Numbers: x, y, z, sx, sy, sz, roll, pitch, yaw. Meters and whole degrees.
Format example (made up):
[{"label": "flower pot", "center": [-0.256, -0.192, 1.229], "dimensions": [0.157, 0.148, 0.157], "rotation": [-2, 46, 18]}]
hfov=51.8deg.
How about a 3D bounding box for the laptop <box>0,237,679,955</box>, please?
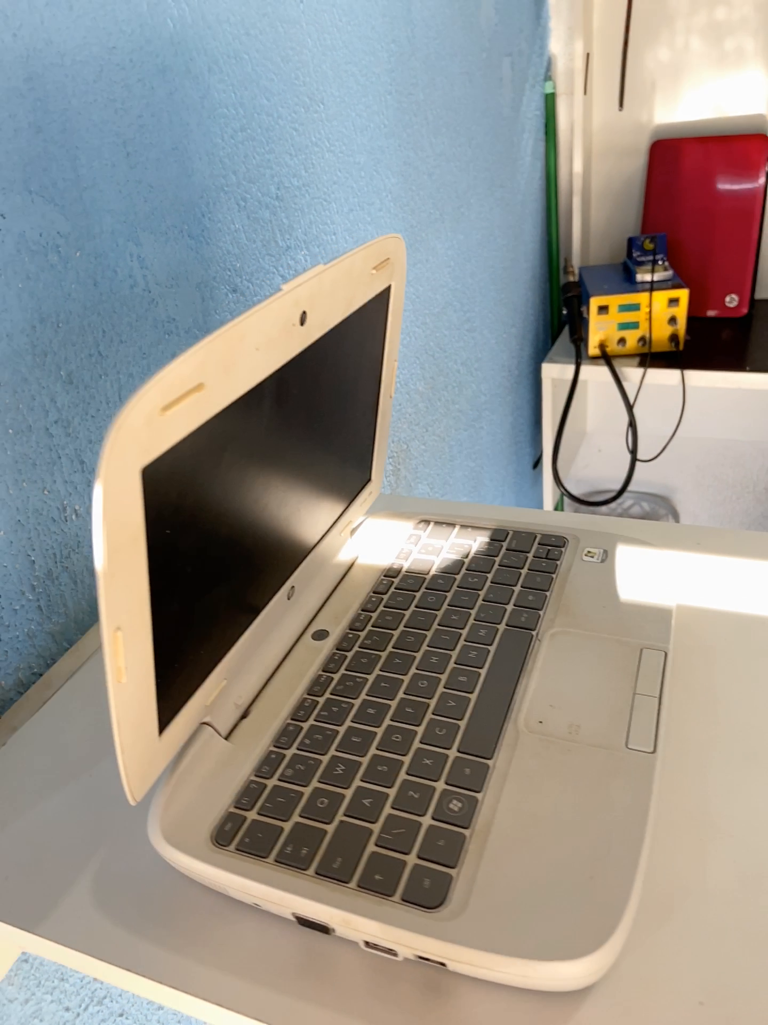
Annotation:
[{"label": "laptop", "center": [0.020, -0.001, 0.348], "dimensions": [0.177, 0.172, 0.249], "rotation": [6, 32, 21]}]
